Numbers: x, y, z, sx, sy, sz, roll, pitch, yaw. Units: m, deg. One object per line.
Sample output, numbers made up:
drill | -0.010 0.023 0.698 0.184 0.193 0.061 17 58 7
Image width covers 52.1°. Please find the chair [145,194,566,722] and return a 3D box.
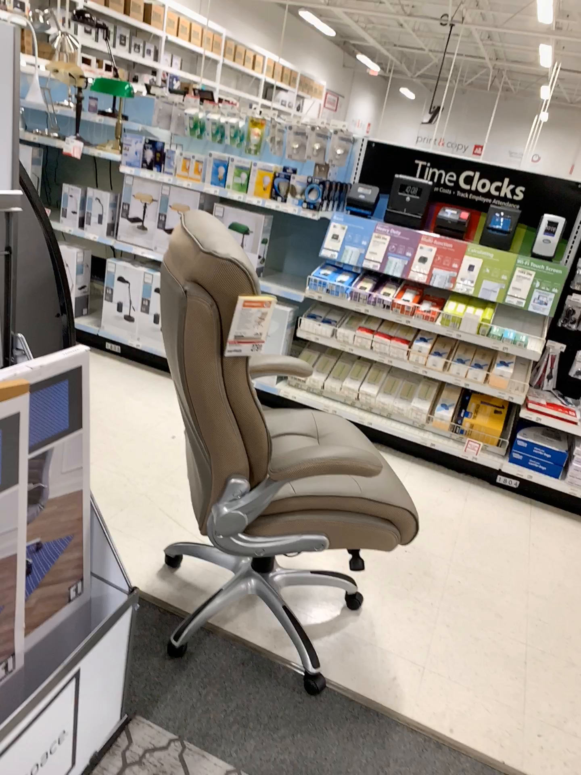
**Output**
chair | 0.036 0.160 1.645 0.721 1.145 0.713 4 23 -18
